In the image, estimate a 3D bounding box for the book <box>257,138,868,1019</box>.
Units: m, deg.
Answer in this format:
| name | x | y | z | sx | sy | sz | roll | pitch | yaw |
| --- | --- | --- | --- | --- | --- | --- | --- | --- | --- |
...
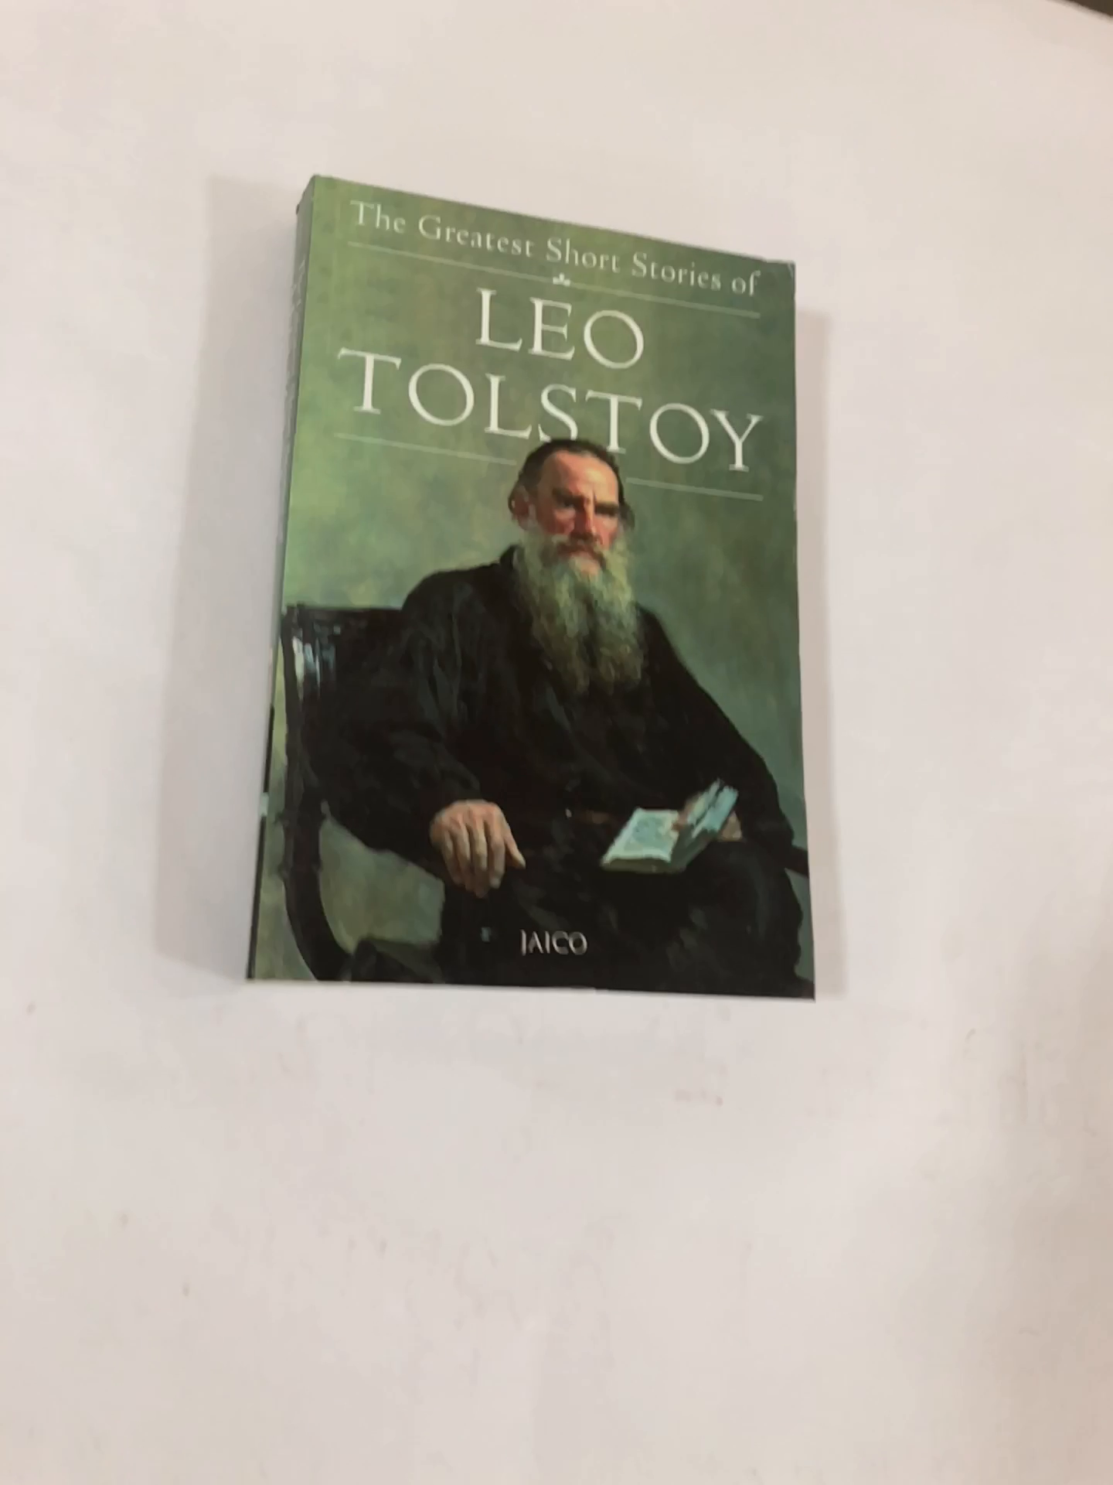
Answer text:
| name | x | y | z | sx | sy | sz | roll | pitch | yaw |
| --- | --- | --- | --- | --- | --- | --- | --- | --- | --- |
| book | 0.005 | -0.045 | 0.336 | 0.150 | 0.020 | 0.230 | 5 | 73 | -16 |
